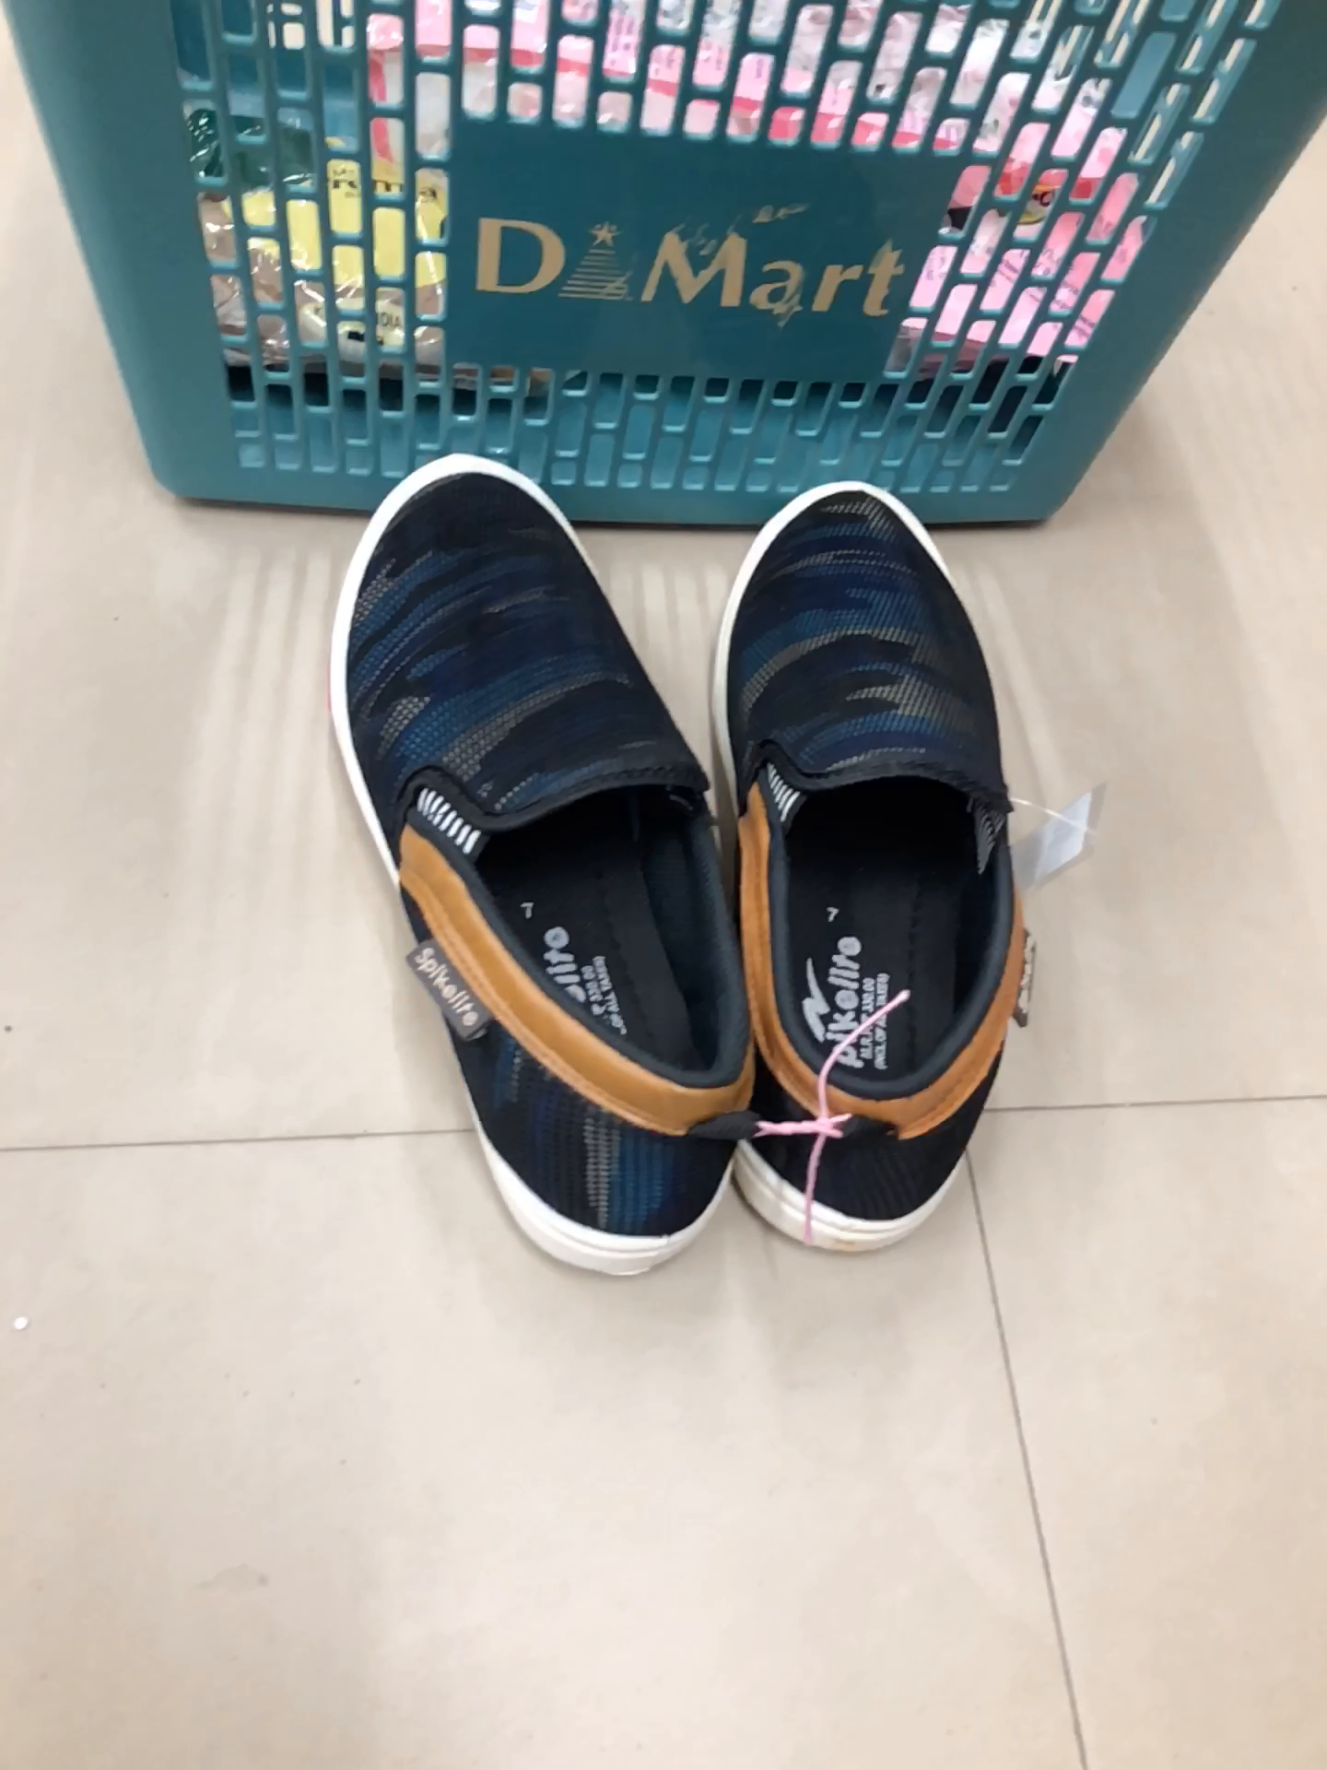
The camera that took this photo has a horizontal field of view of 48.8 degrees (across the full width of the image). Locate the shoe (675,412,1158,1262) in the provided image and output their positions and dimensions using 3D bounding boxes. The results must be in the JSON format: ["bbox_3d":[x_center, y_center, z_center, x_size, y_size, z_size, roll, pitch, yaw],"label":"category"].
[{"bbox_3d":[0.067,-0.017,0.463,0.105,0.107,0.240,6,60,-6],"label":"shoe"}]

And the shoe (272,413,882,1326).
[{"bbox_3d":[-0.039,-0.011,0.441,0.106,0.107,0.239,-11,63,-15],"label":"shoe"}]
